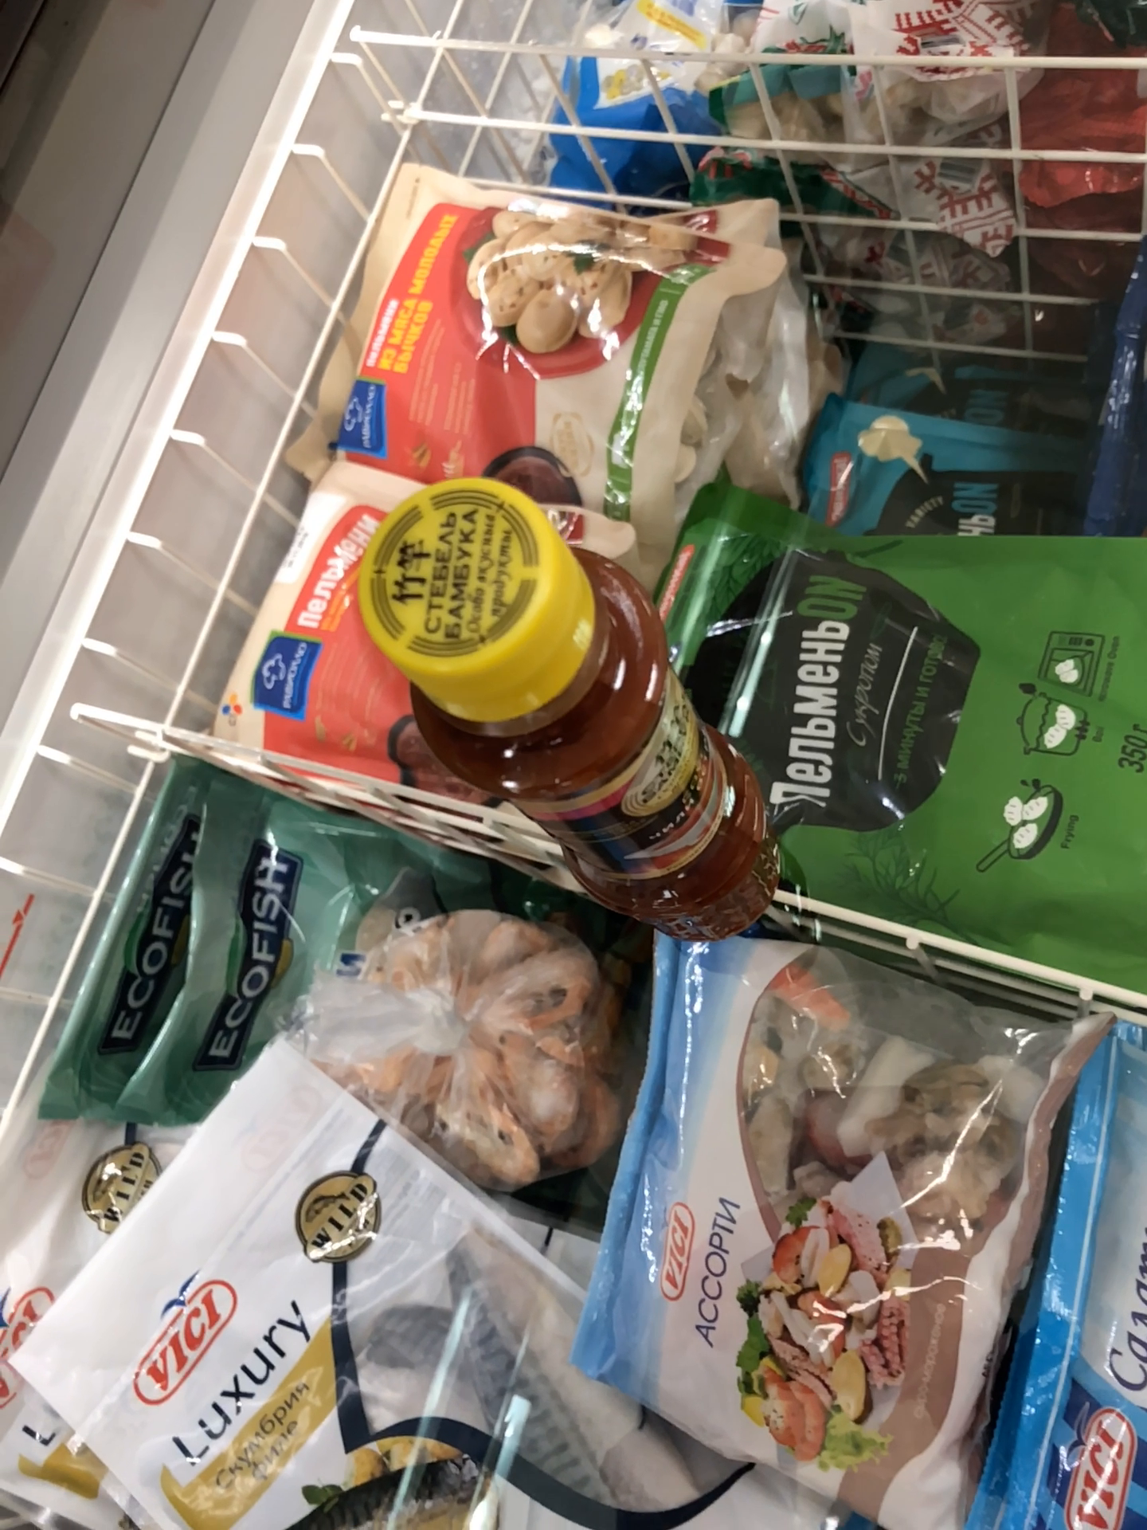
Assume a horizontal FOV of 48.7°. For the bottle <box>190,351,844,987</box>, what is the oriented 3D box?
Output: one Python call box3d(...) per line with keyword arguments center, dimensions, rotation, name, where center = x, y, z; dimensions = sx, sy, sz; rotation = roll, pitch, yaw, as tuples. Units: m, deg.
box3d(center=(0.010, -0.002, 0.271), dimensions=(0.060, 0.199, 0.060), rotation=(-5, 73, 16), name="bottle")
